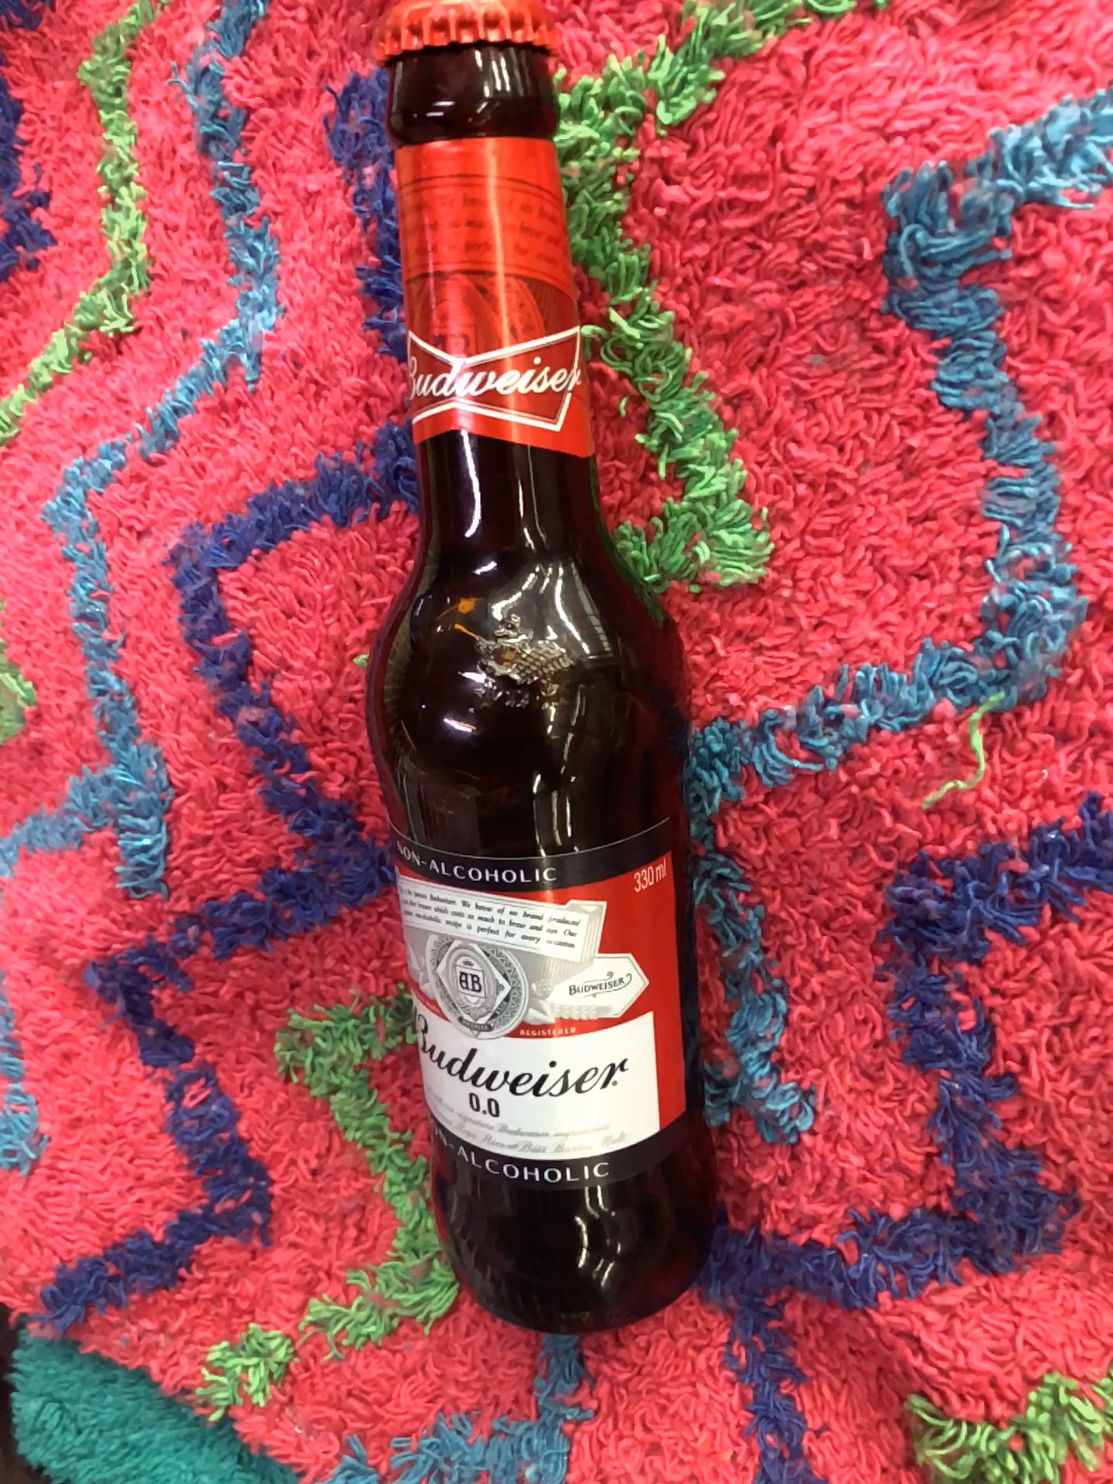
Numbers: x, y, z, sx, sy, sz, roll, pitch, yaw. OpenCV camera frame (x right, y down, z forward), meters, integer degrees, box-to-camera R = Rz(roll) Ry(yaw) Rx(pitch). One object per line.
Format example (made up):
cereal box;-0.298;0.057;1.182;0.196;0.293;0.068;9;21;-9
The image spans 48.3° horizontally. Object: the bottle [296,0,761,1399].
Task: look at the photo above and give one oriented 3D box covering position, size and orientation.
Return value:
bottle;-0.001;-0.007;0.237;0.060;0.050;0.250;7;107;28
